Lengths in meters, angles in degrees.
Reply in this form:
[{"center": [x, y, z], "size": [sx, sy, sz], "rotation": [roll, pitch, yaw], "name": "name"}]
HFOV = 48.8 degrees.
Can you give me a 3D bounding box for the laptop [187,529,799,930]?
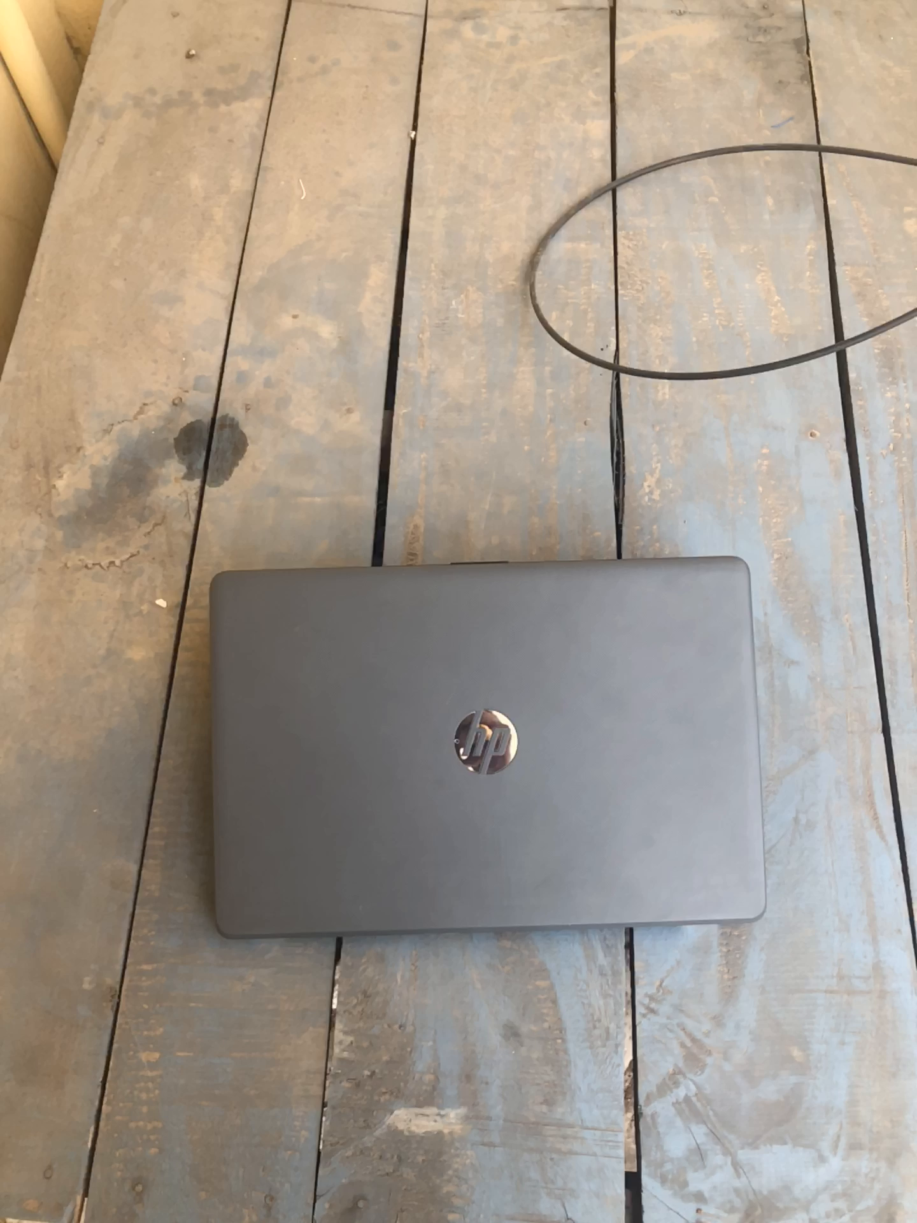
[{"center": [0.017, 0.079, 0.687], "size": [0.361, 0.096, 0.244], "rotation": [-2, 66, 0], "name": "laptop"}]
